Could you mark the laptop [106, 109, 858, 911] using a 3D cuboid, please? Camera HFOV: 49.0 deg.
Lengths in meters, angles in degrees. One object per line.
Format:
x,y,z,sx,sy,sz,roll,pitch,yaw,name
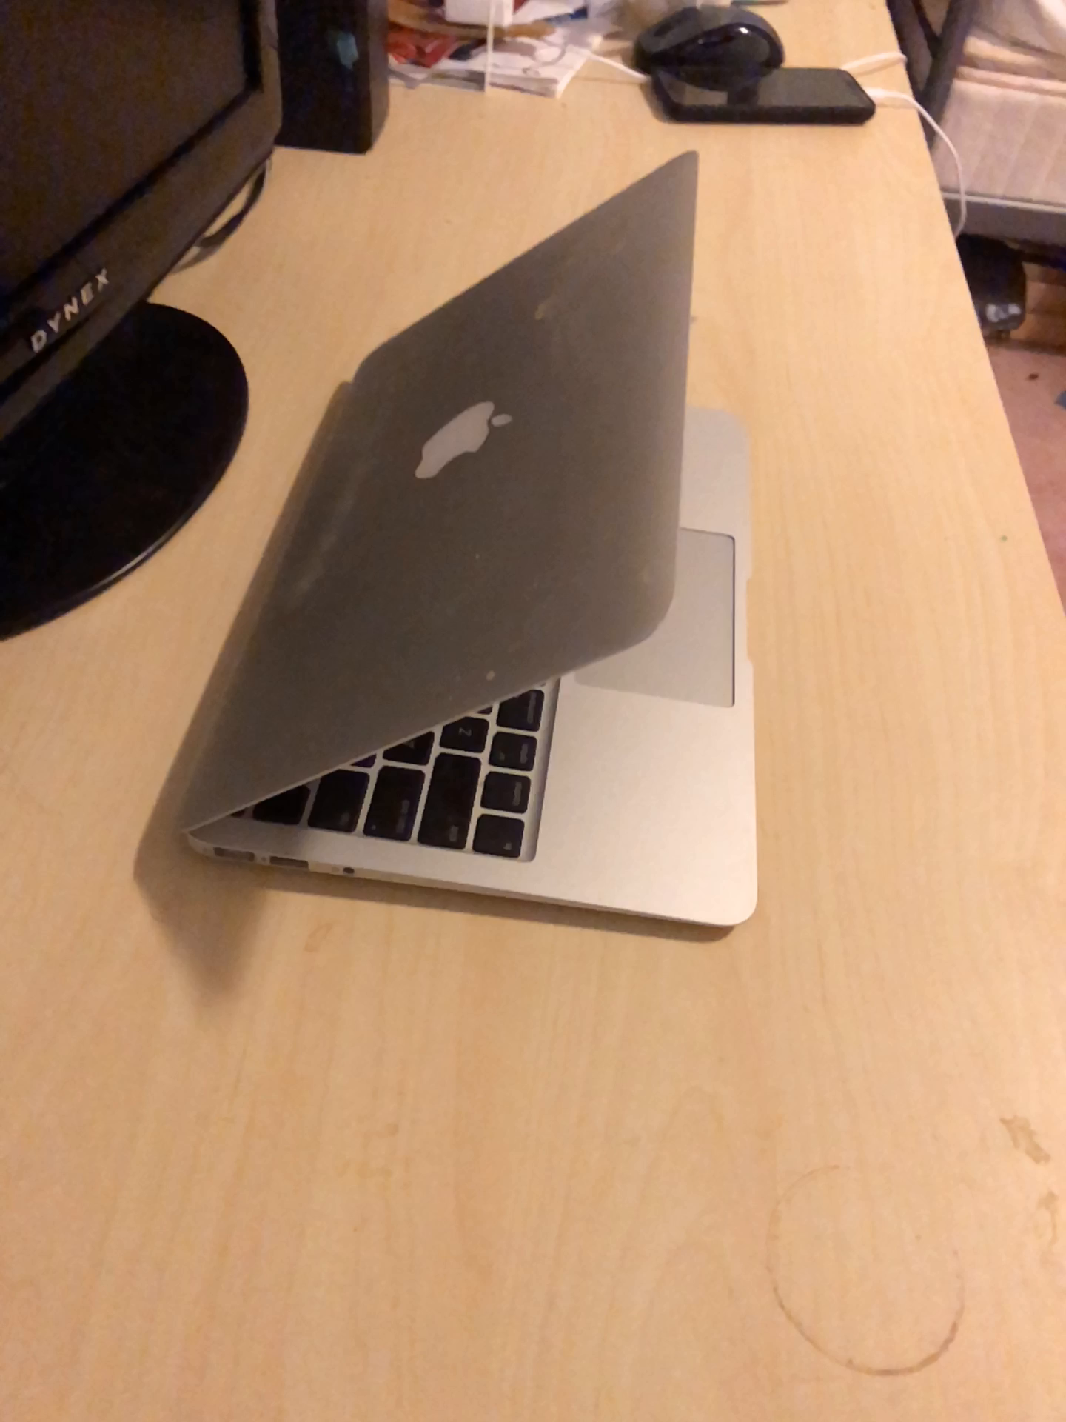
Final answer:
-0.003,-0.093,0.436,0.189,0.127,0.288,7,47,1,laptop
